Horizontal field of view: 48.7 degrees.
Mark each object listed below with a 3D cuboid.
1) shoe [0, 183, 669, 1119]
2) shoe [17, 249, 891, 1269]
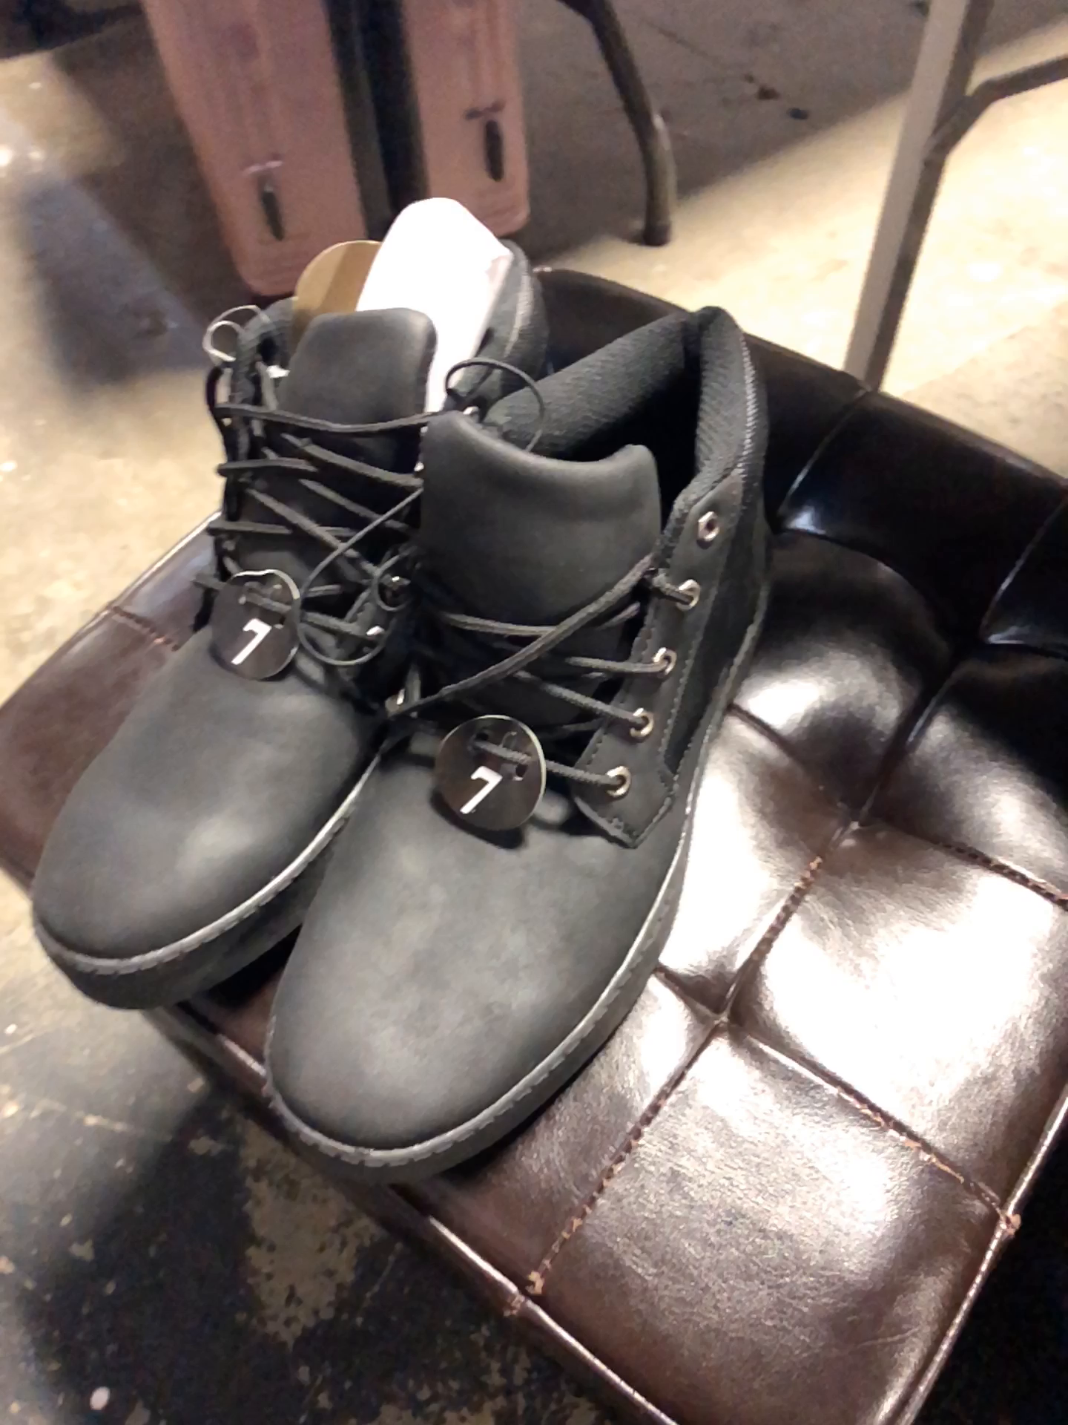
[{"bbox_3d":[-0.060,-0.027,0.387,0.100,0.139,0.261,23,60,16],"label":"shoe"},{"bbox_3d":[-0.002,0.009,0.324,0.100,0.139,0.221,23,60,16],"label":"shoe"}]
